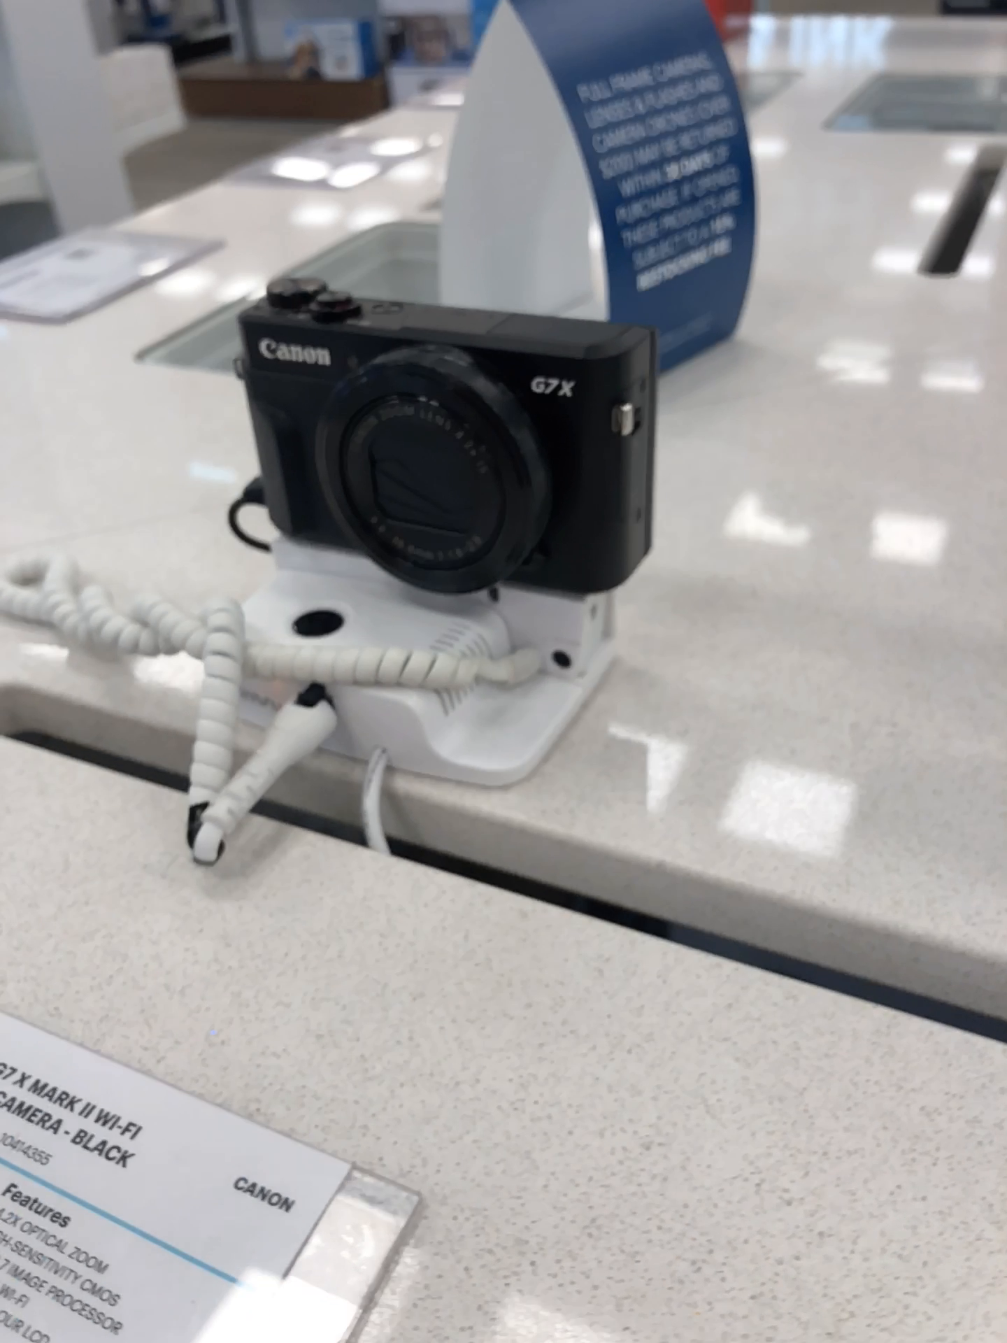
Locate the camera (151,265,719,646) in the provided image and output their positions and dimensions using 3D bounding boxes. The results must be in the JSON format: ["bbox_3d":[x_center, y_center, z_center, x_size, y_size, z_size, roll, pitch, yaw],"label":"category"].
[{"bbox_3d":[-0.015,-0.056,0.276,0.120,0.060,0.050,13,39,24],"label":"camera"}]
